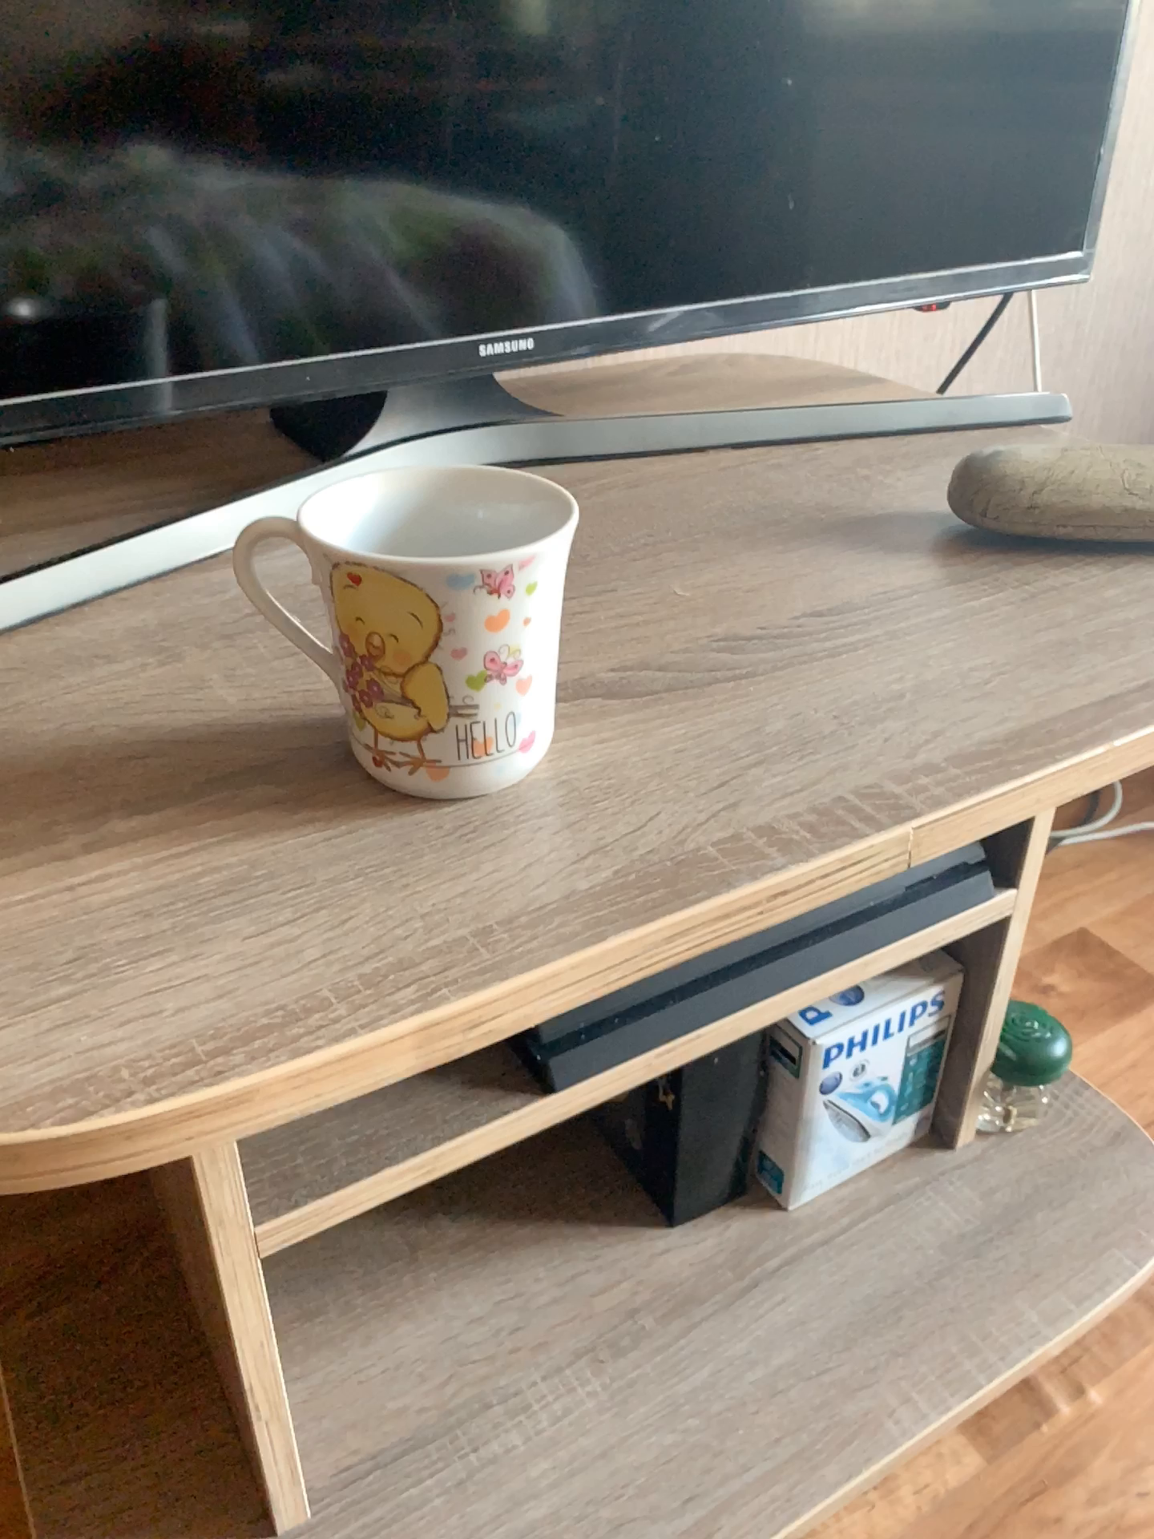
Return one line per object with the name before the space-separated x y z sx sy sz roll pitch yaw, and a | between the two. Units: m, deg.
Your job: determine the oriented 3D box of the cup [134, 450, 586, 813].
cup | -0.057 -0.043 0.354 0.110 0.080 0.070 4 31 6
